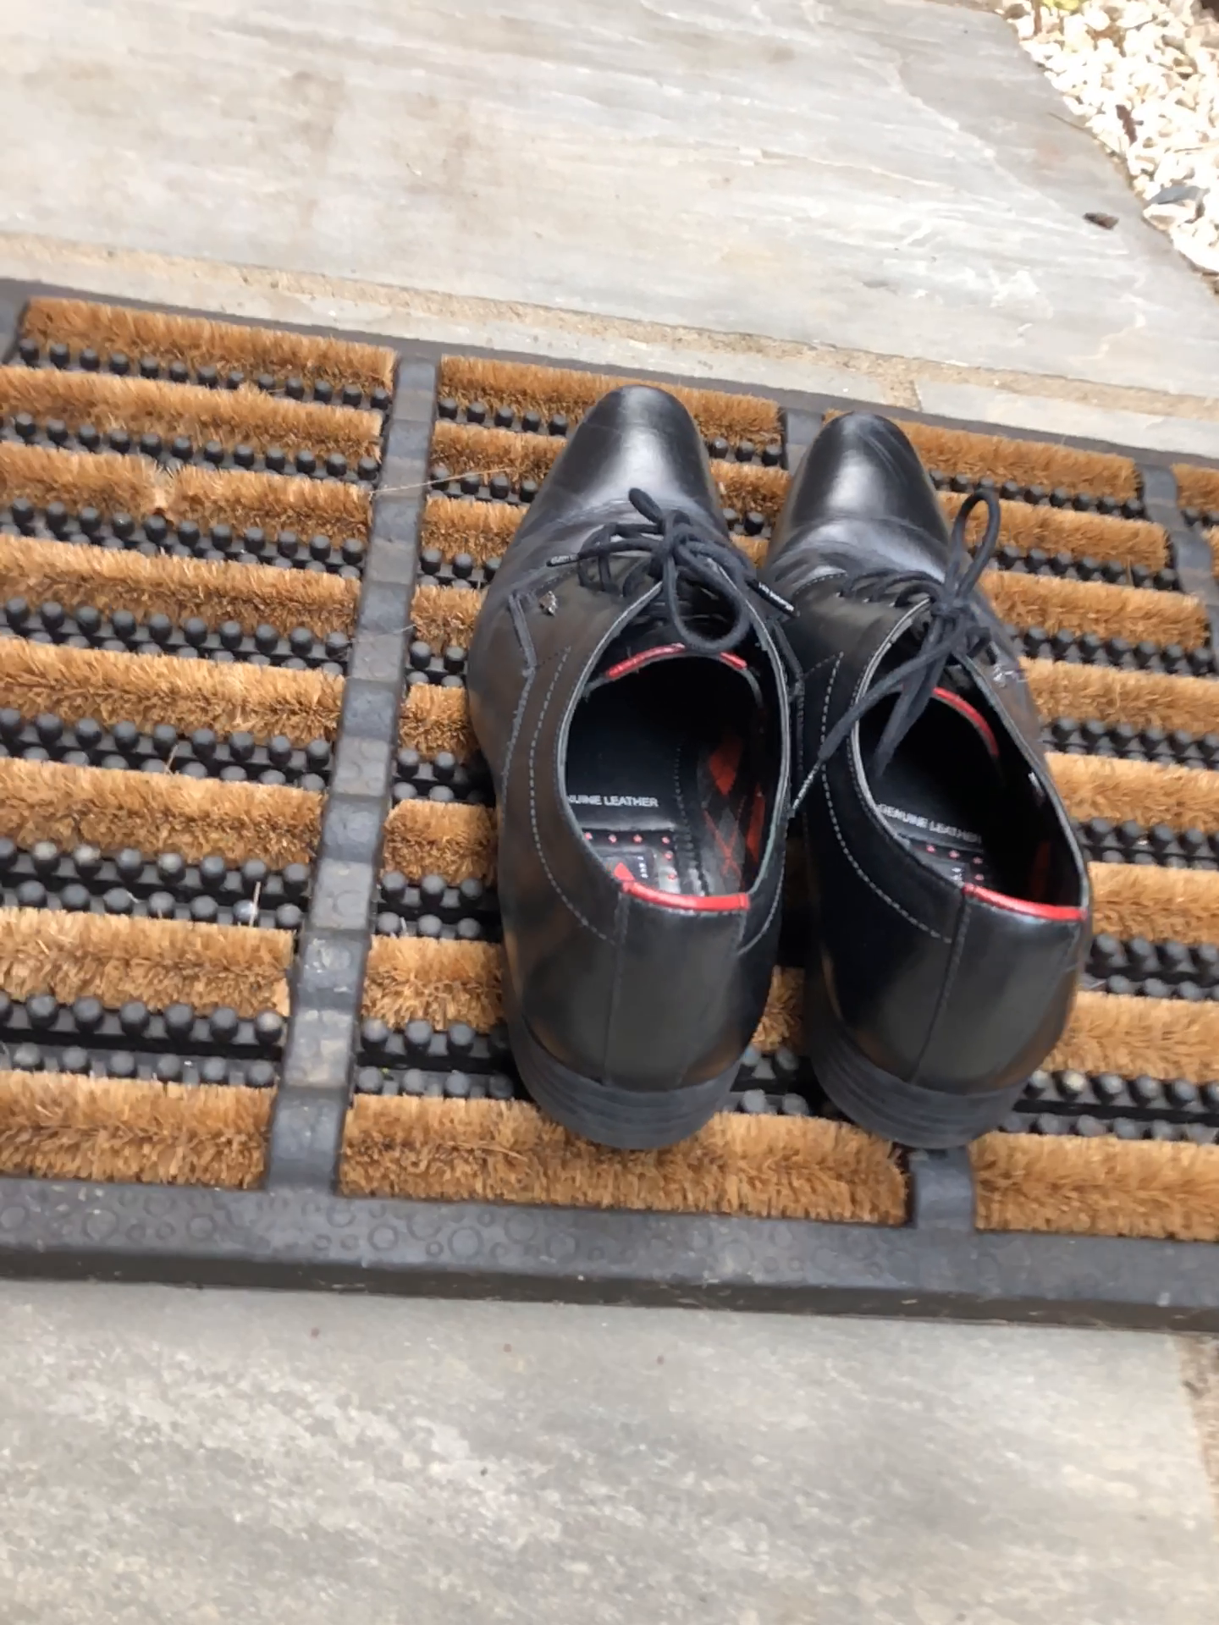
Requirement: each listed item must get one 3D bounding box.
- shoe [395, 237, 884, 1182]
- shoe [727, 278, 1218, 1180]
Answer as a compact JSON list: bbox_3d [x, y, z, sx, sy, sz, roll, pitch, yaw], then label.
[{"bbox_3d":[0.003,-0.052,0.421,0.100,0.099,0.302,7,49,-7],"label":"shoe"},{"bbox_3d":[0.106,-0.046,0.443,0.100,0.099,0.302,7,49,-7],"label":"shoe"}]
